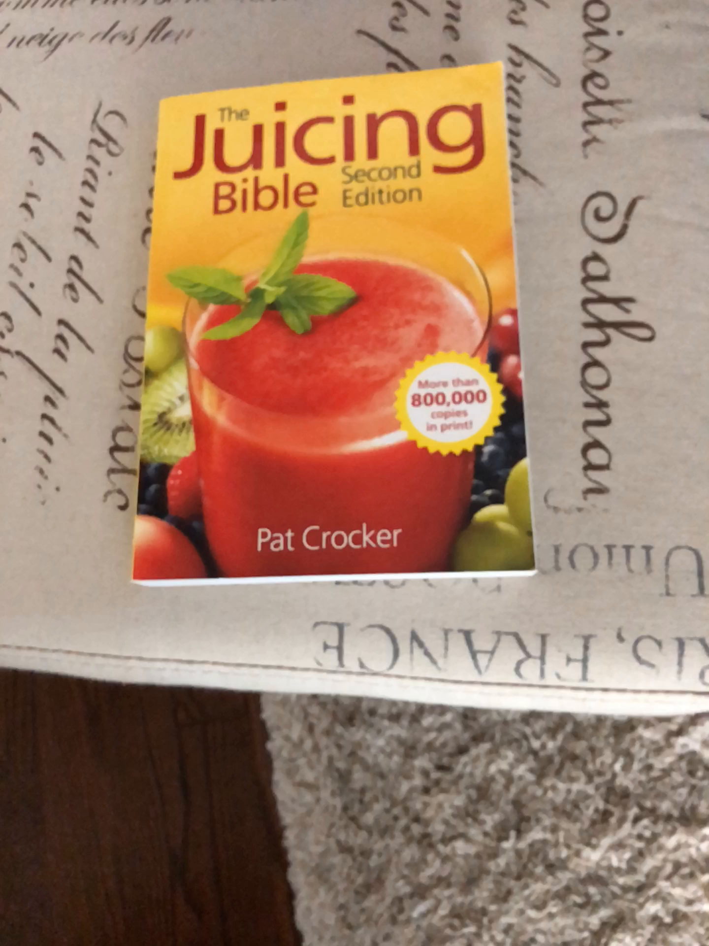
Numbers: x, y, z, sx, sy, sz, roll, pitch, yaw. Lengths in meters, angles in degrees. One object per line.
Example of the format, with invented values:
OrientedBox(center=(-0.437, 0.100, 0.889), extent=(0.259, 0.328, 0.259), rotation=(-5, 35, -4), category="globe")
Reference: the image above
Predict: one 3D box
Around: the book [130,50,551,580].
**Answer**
OrientedBox(center=(-0.007, -0.077, 0.382), extent=(0.180, 0.030, 0.250), rotation=(-2, 76, 7), category="book")
